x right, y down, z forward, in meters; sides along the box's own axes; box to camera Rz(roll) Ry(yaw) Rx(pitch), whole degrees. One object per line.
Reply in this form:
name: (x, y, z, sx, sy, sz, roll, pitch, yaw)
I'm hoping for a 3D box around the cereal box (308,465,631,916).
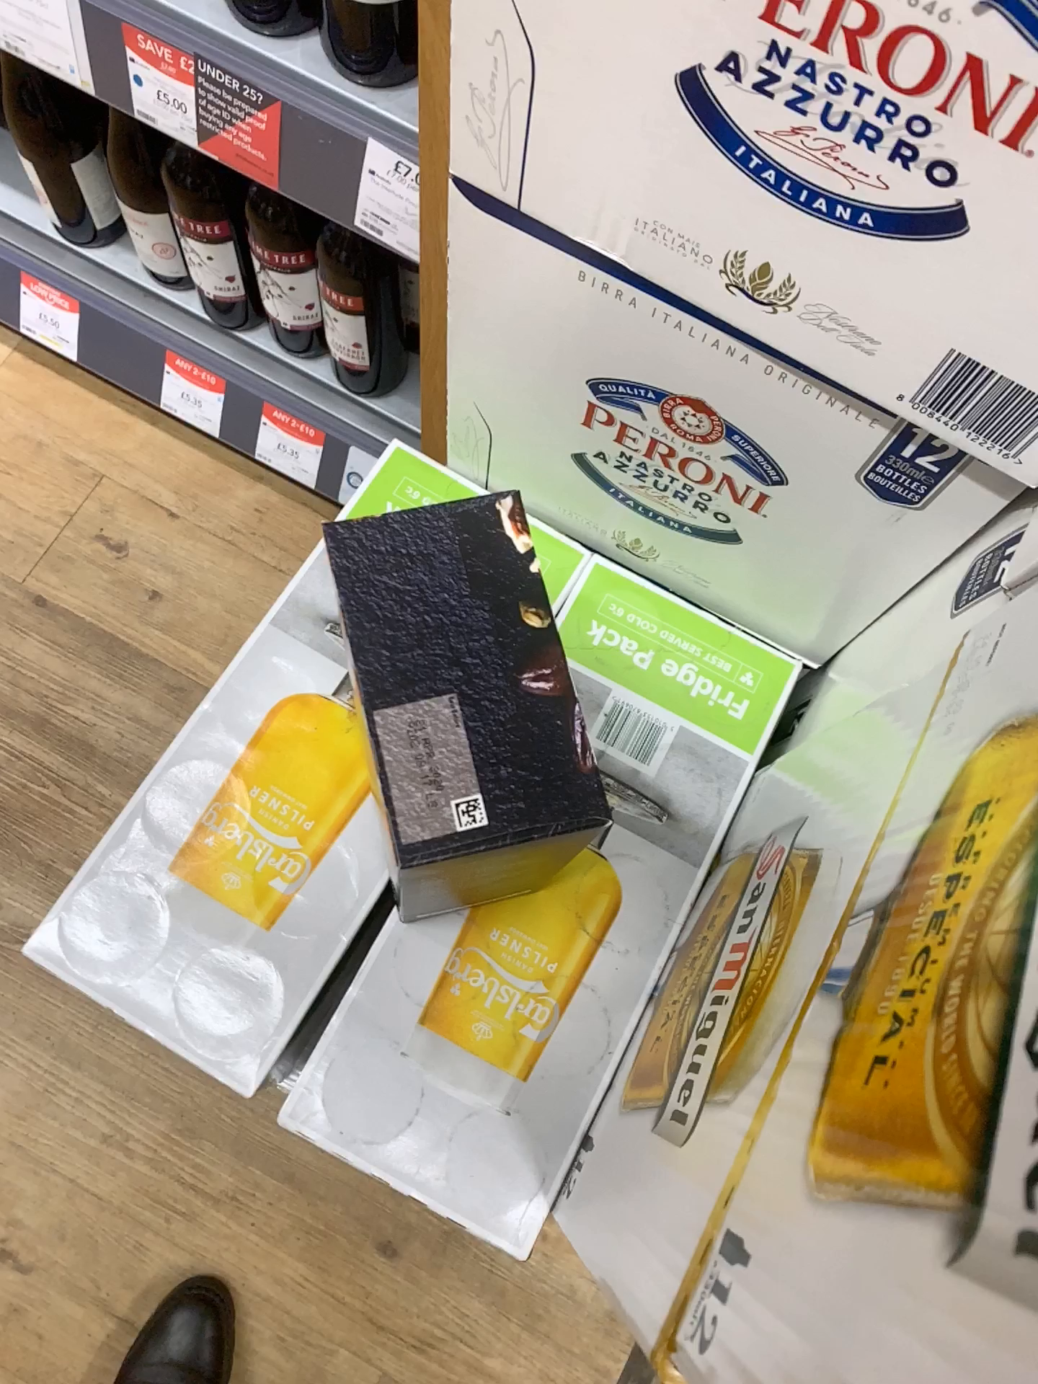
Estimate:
cereal box: (-0.027, 0.016, 0.446, 0.080, 0.209, 0.120, -12, 75, -9)
